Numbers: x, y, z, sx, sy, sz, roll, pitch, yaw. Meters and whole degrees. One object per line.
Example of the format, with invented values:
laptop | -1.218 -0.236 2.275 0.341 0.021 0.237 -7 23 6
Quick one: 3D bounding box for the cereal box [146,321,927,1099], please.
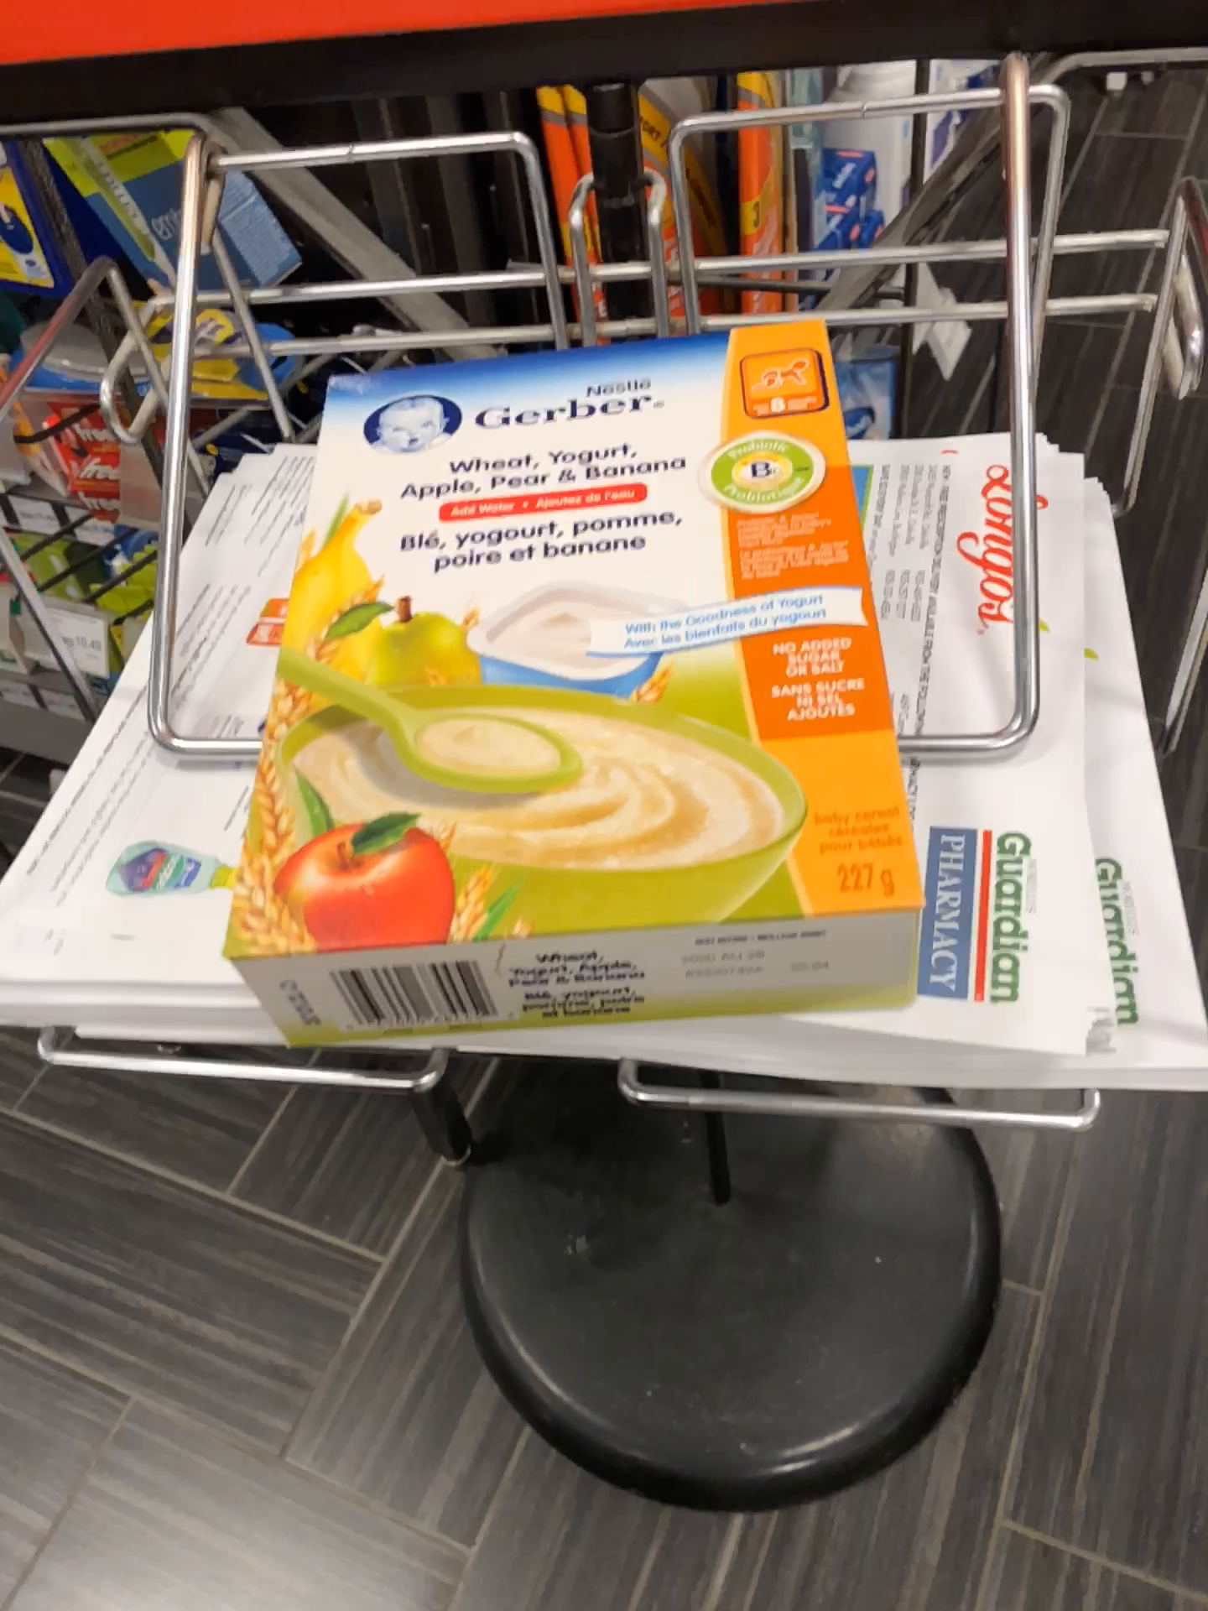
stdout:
cereal box | -0.012 -0.034 0.336 0.150 0.050 0.201 -5 50 7
